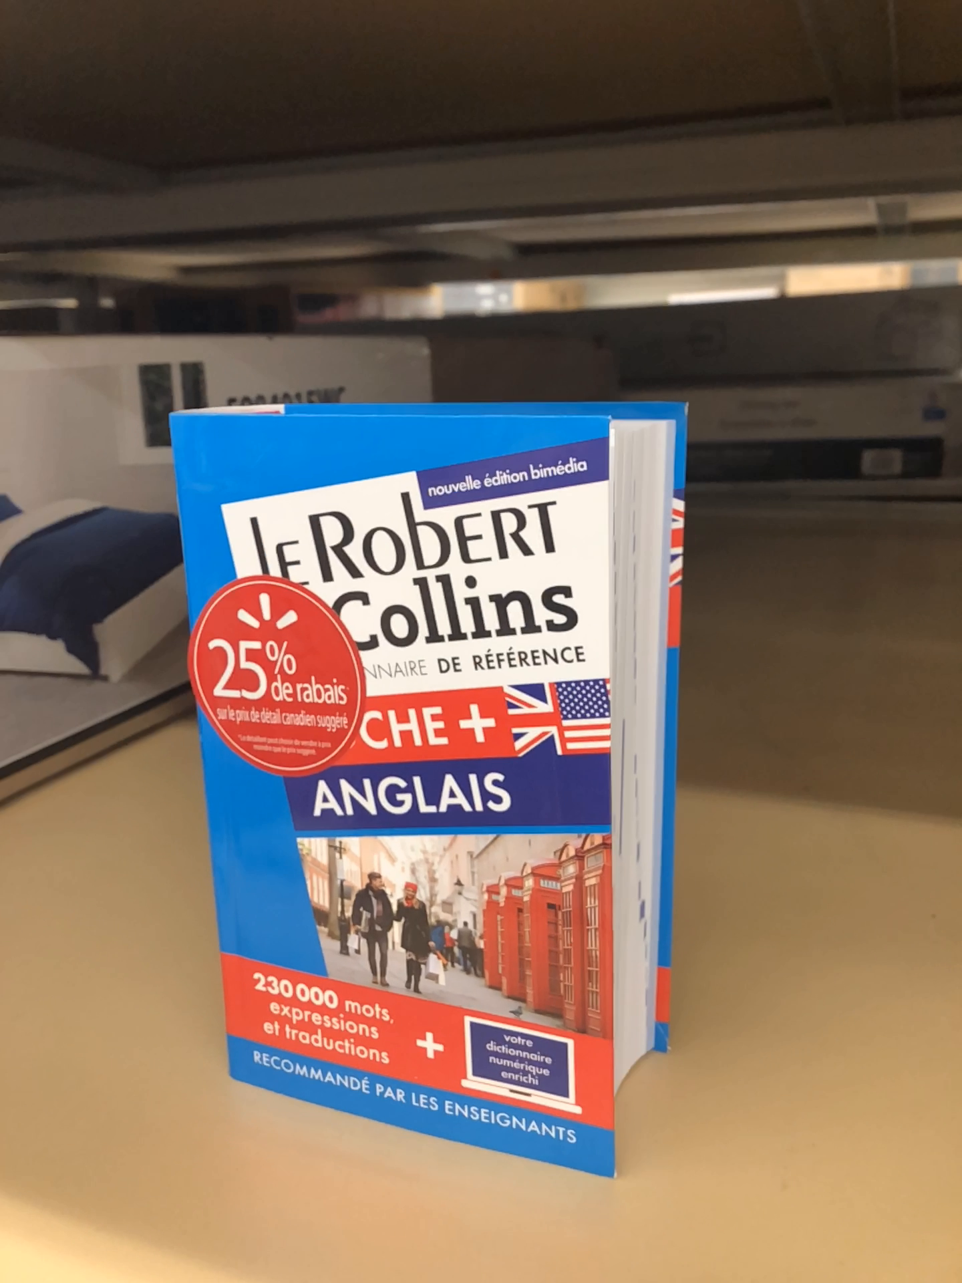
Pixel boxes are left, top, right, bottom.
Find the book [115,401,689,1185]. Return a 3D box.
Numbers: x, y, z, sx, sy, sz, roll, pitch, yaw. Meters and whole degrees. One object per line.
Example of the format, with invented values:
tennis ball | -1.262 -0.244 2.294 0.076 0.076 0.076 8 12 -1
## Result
book | -0.015 0.029 0.273 0.121 0.173 0.059 5 17 21
